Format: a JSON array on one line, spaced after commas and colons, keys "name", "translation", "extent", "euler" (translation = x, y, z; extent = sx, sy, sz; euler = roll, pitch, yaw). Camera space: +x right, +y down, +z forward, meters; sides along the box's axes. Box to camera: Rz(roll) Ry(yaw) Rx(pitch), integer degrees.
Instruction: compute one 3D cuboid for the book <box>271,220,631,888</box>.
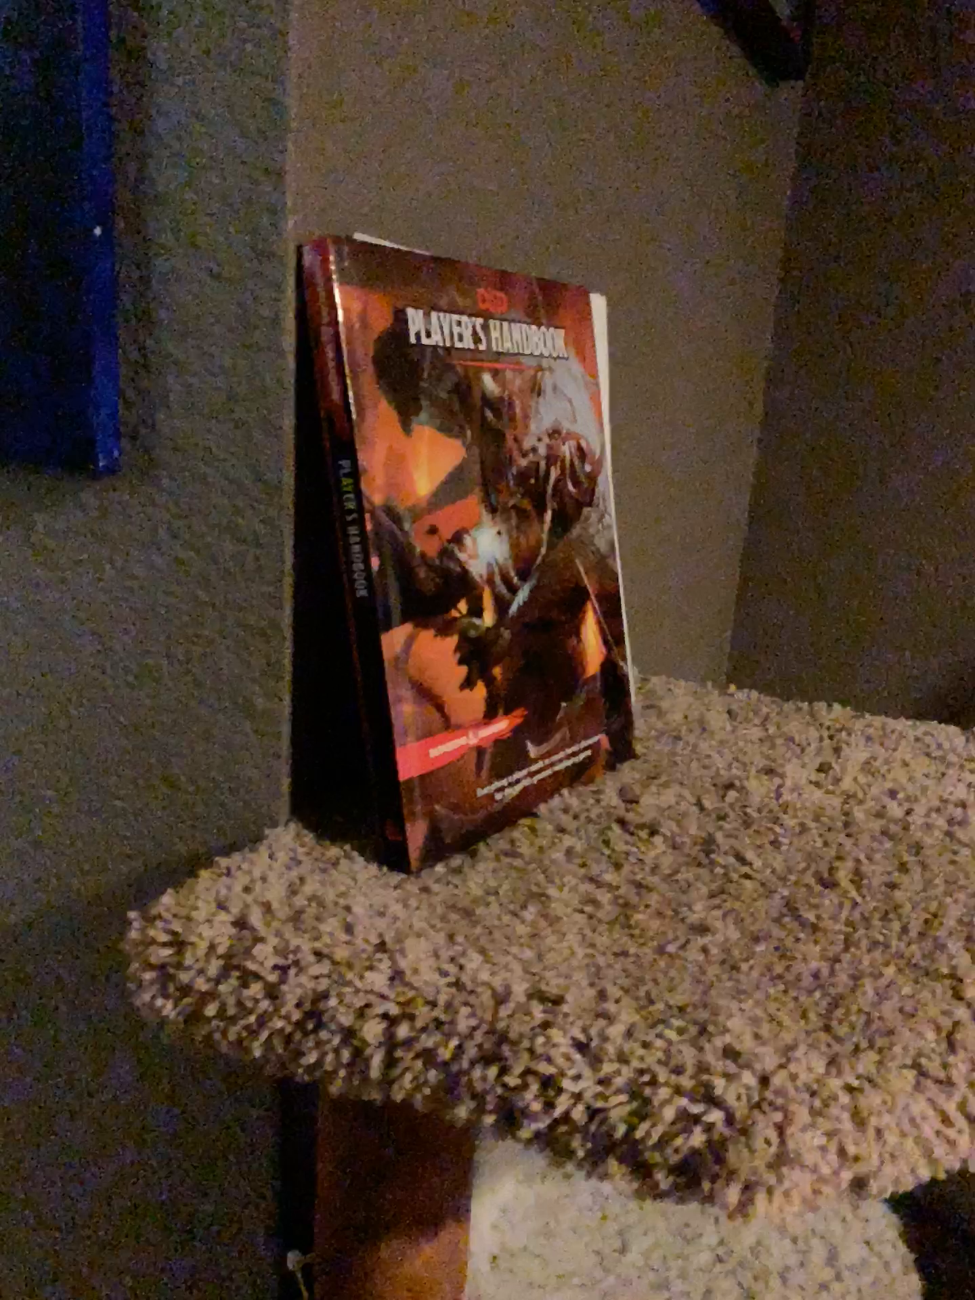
[{"name": "book", "translation": [-0.002, -0.054, 0.572], "extent": [0.040, 0.290, 0.230], "euler": [2, 10, 35]}]
